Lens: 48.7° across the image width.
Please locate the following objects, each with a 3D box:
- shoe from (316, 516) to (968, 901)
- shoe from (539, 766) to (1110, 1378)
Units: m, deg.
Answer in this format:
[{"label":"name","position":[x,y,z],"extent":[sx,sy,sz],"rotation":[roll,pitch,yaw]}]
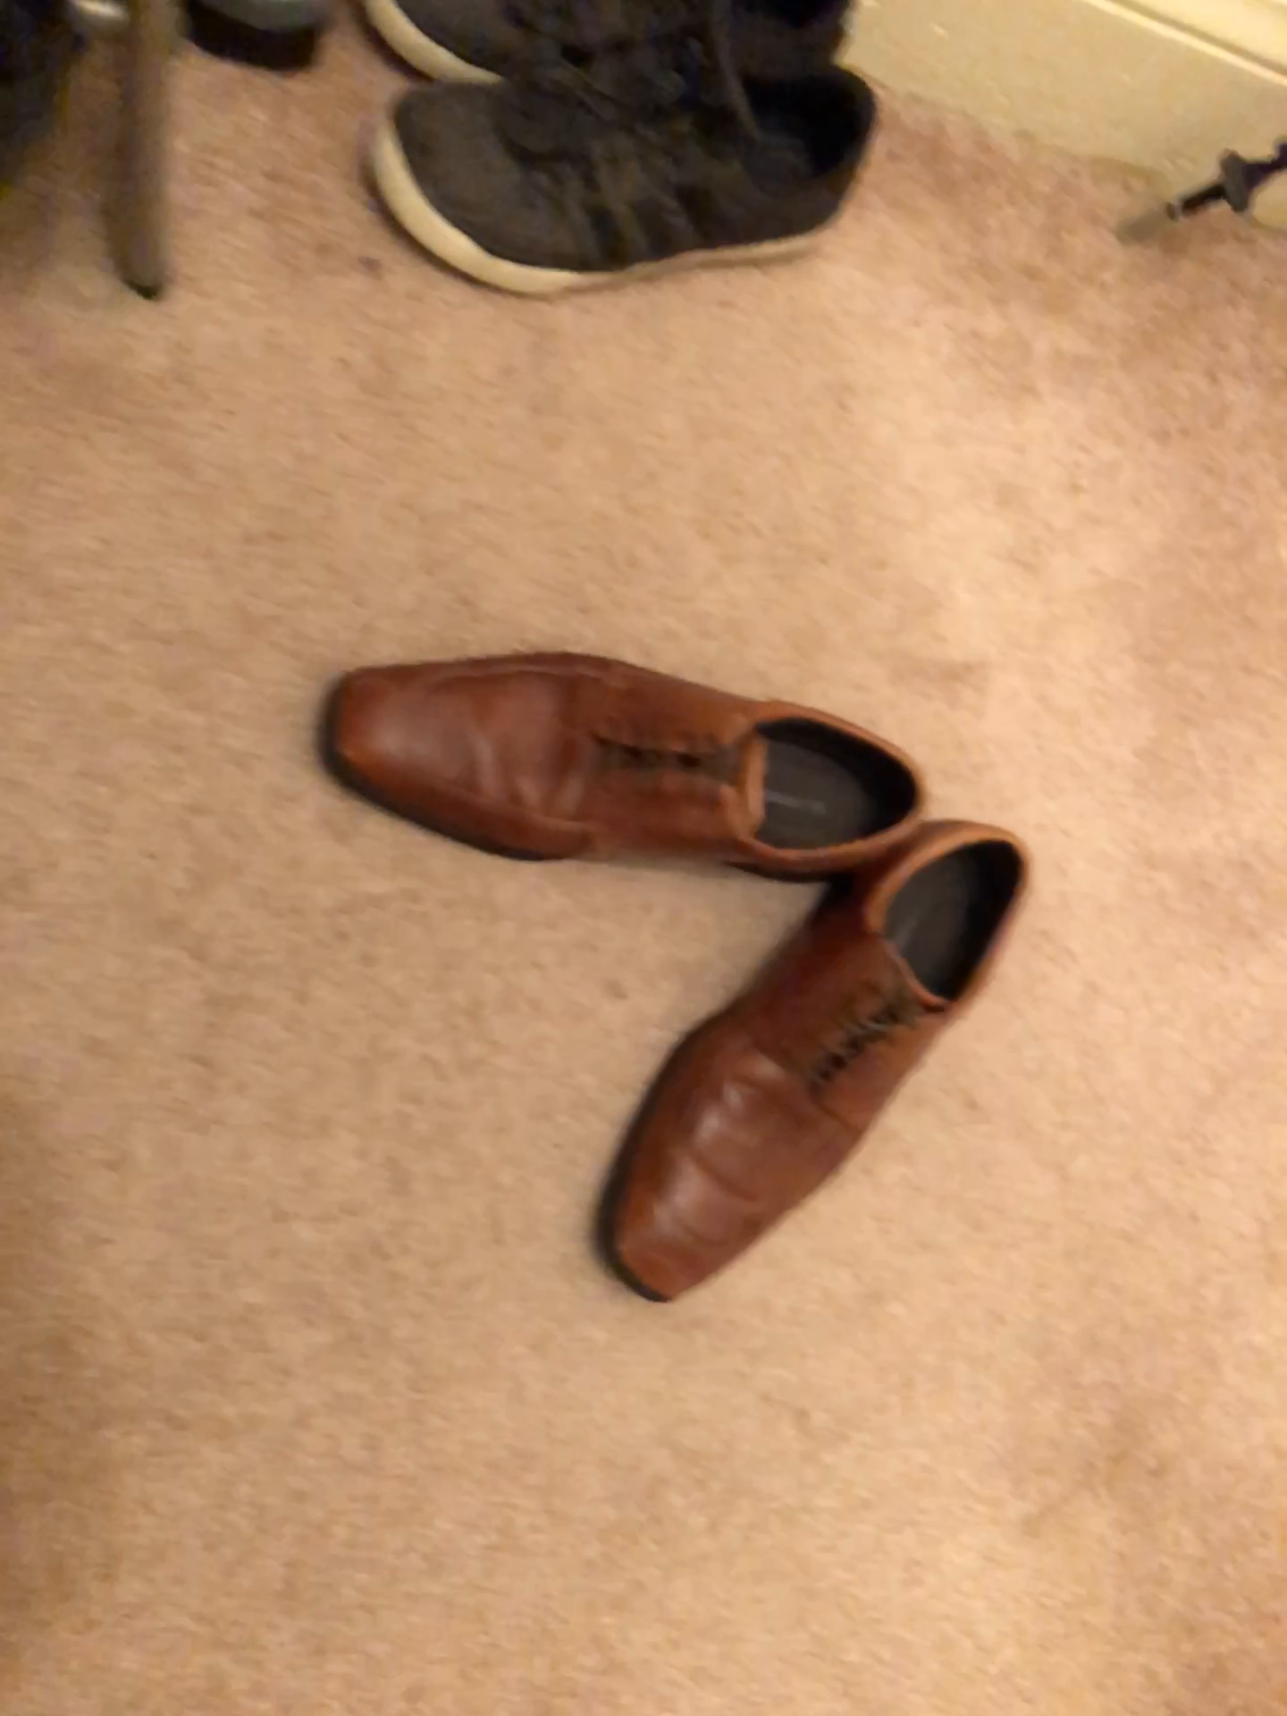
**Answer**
[{"label":"shoe","position":[0.001,-0.063,0.726],"extent":[0.300,0.120,0.120],"rotation":[9,80,-21]},{"label":"shoe","position":[0.096,0.100,0.733],"extent":[0.100,0.110,0.301],"rotation":[46,69,-11]}]
